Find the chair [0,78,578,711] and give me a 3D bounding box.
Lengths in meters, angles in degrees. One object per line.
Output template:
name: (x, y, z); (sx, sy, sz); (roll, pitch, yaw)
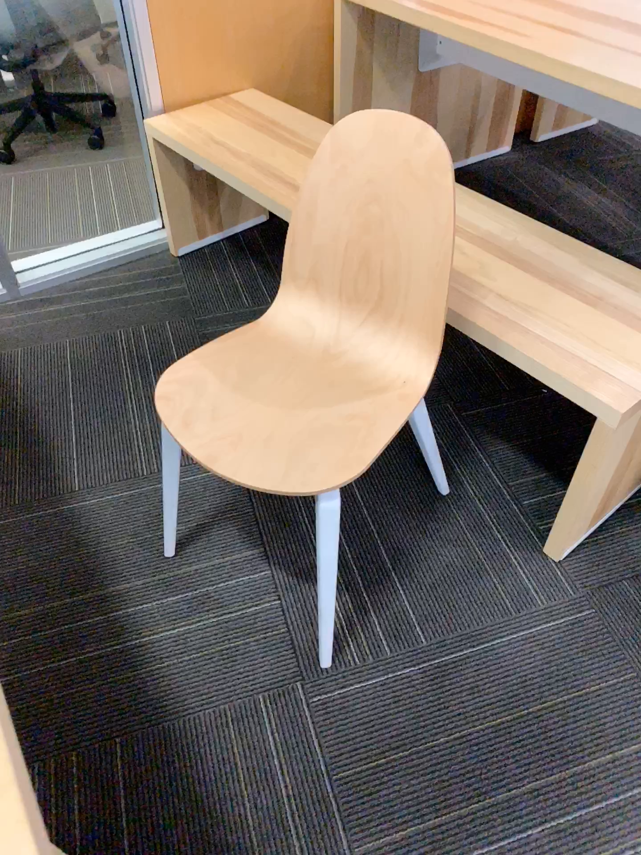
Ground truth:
chair: (-0.003, -0.069, 1.163); (0.521, 0.766, 0.652); (24, 51, 23)
